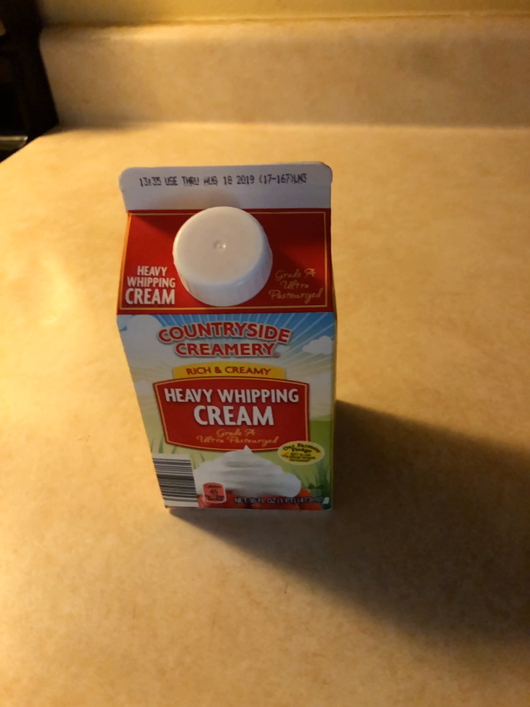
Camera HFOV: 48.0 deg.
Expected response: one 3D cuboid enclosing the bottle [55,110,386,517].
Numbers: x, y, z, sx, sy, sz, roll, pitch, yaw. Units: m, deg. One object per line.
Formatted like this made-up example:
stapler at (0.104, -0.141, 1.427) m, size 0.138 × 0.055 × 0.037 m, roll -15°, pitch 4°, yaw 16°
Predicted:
bottle at (-0.007, -0.014, 0.235) m, size 0.090 × 0.130 × 0.090 m, roll -3°, pitch 37°, yaw 2°
